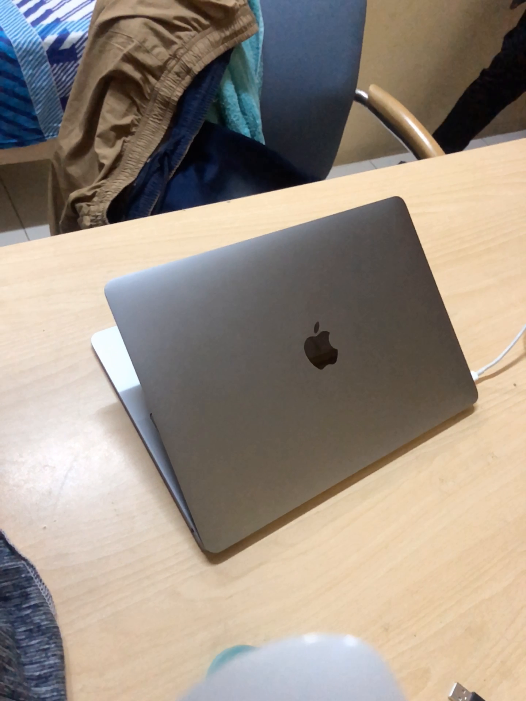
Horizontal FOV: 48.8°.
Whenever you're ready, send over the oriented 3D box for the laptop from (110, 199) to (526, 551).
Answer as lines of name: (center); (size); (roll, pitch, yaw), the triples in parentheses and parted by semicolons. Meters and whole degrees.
laptop: (0.051, -0.002, 0.488); (0.295, 0.094, 0.193); (-21, 63, -28)
